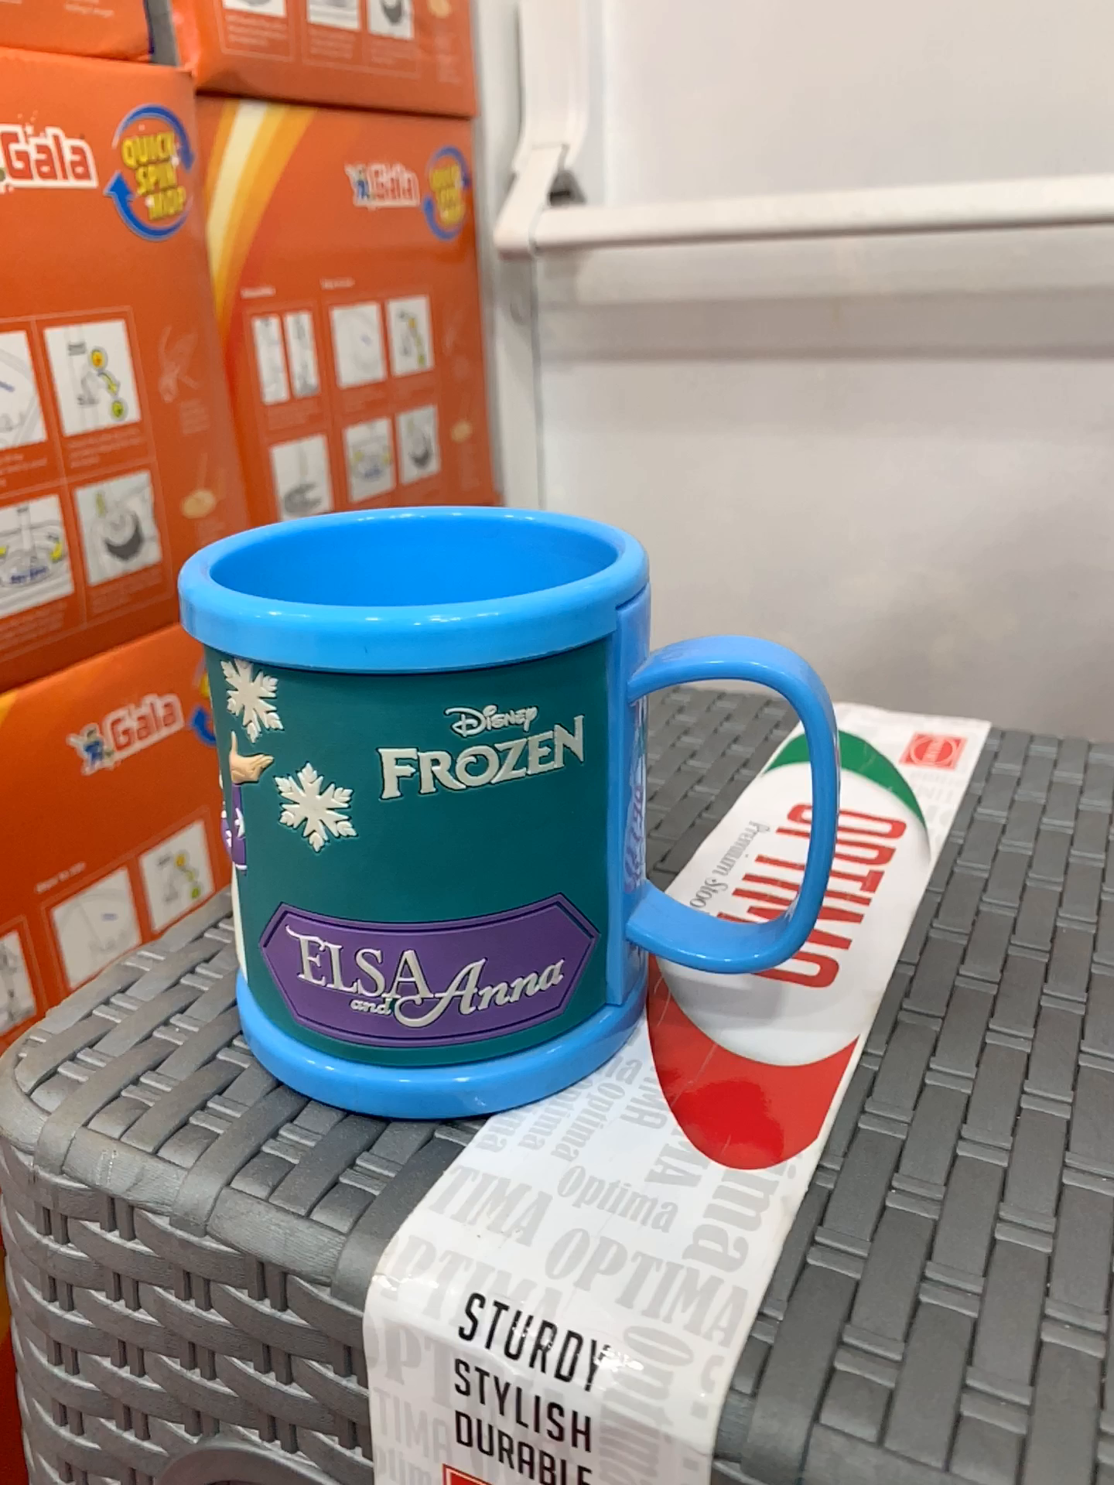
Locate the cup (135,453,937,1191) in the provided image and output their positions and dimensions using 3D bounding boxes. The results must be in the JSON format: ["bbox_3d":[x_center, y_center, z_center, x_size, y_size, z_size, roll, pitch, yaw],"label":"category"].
[{"bbox_3d":[0.004,0.005,0.210,0.110,0.099,0.081,3,22,12],"label":"cup"}]
